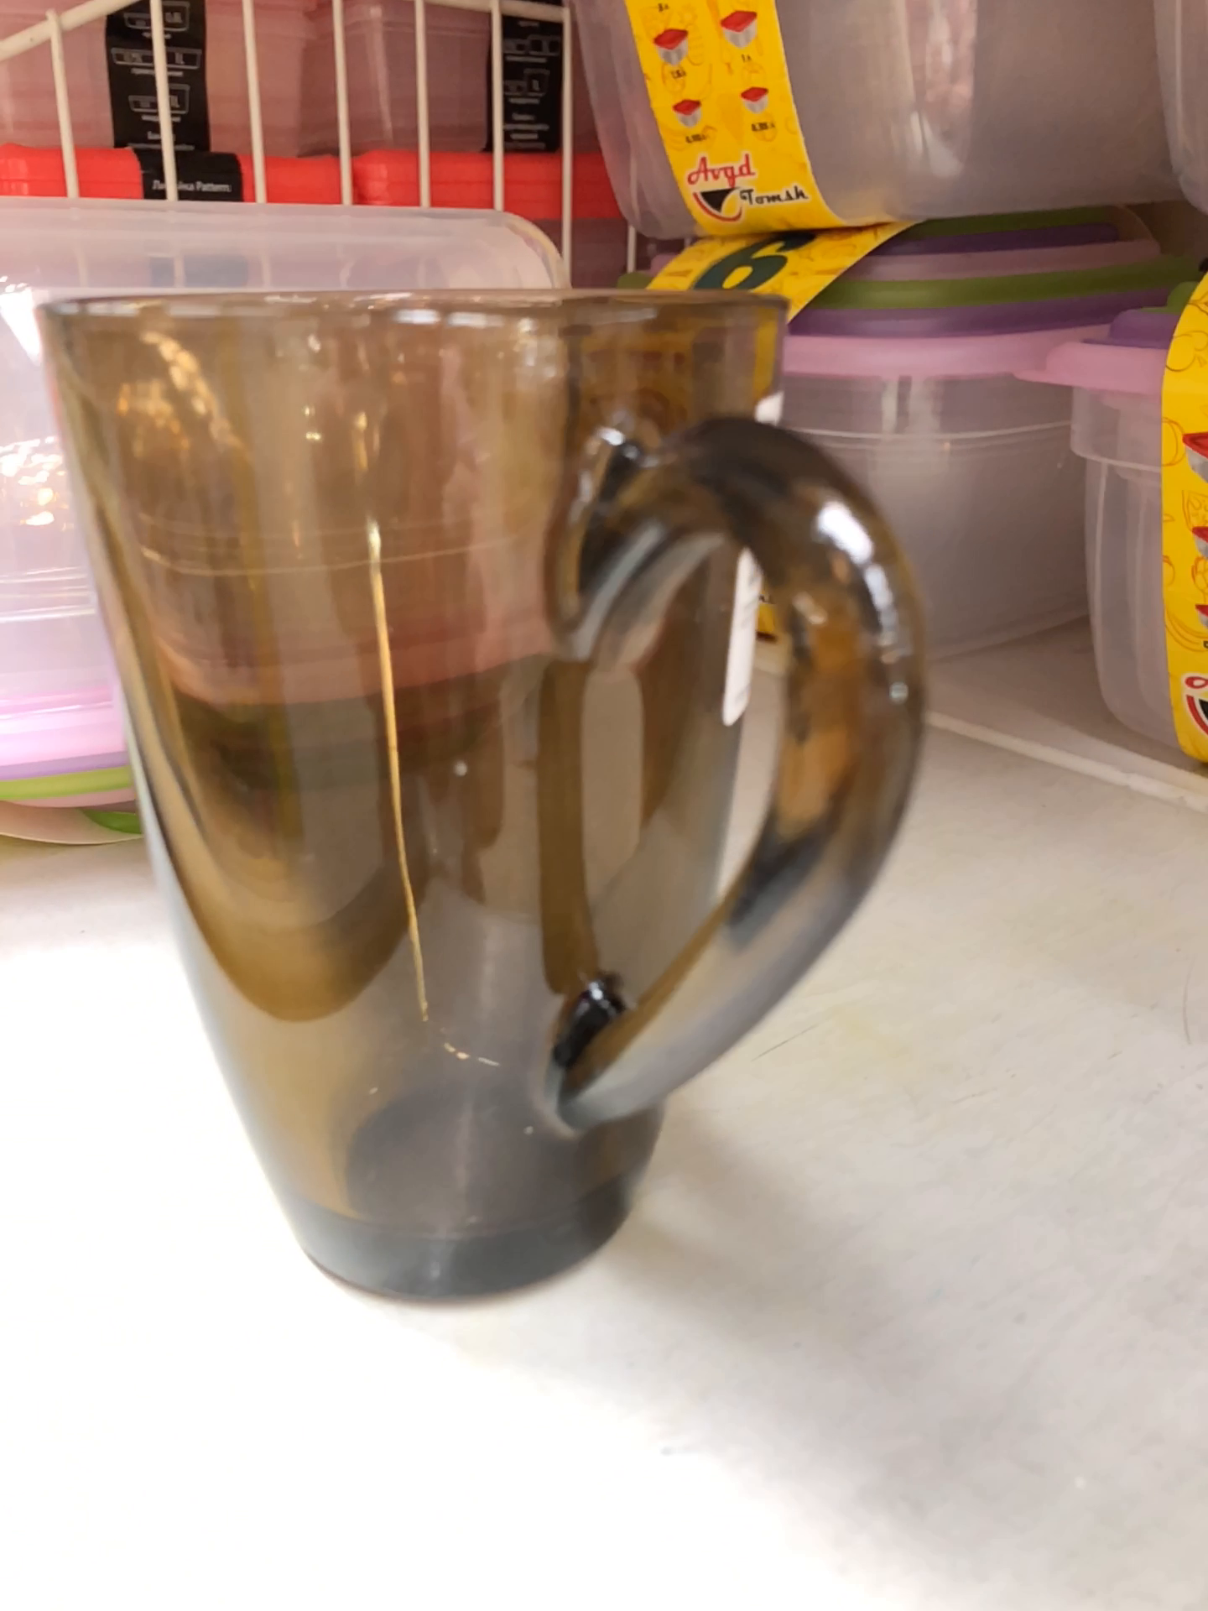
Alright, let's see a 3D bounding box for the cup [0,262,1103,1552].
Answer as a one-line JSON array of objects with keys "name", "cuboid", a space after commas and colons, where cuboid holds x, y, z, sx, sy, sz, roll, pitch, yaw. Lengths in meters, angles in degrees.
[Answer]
[{"name": "cup", "cuboid": [-0.018, -0.007, 0.152, 0.112, 0.096, 0.072, 18, 29, 41]}]
